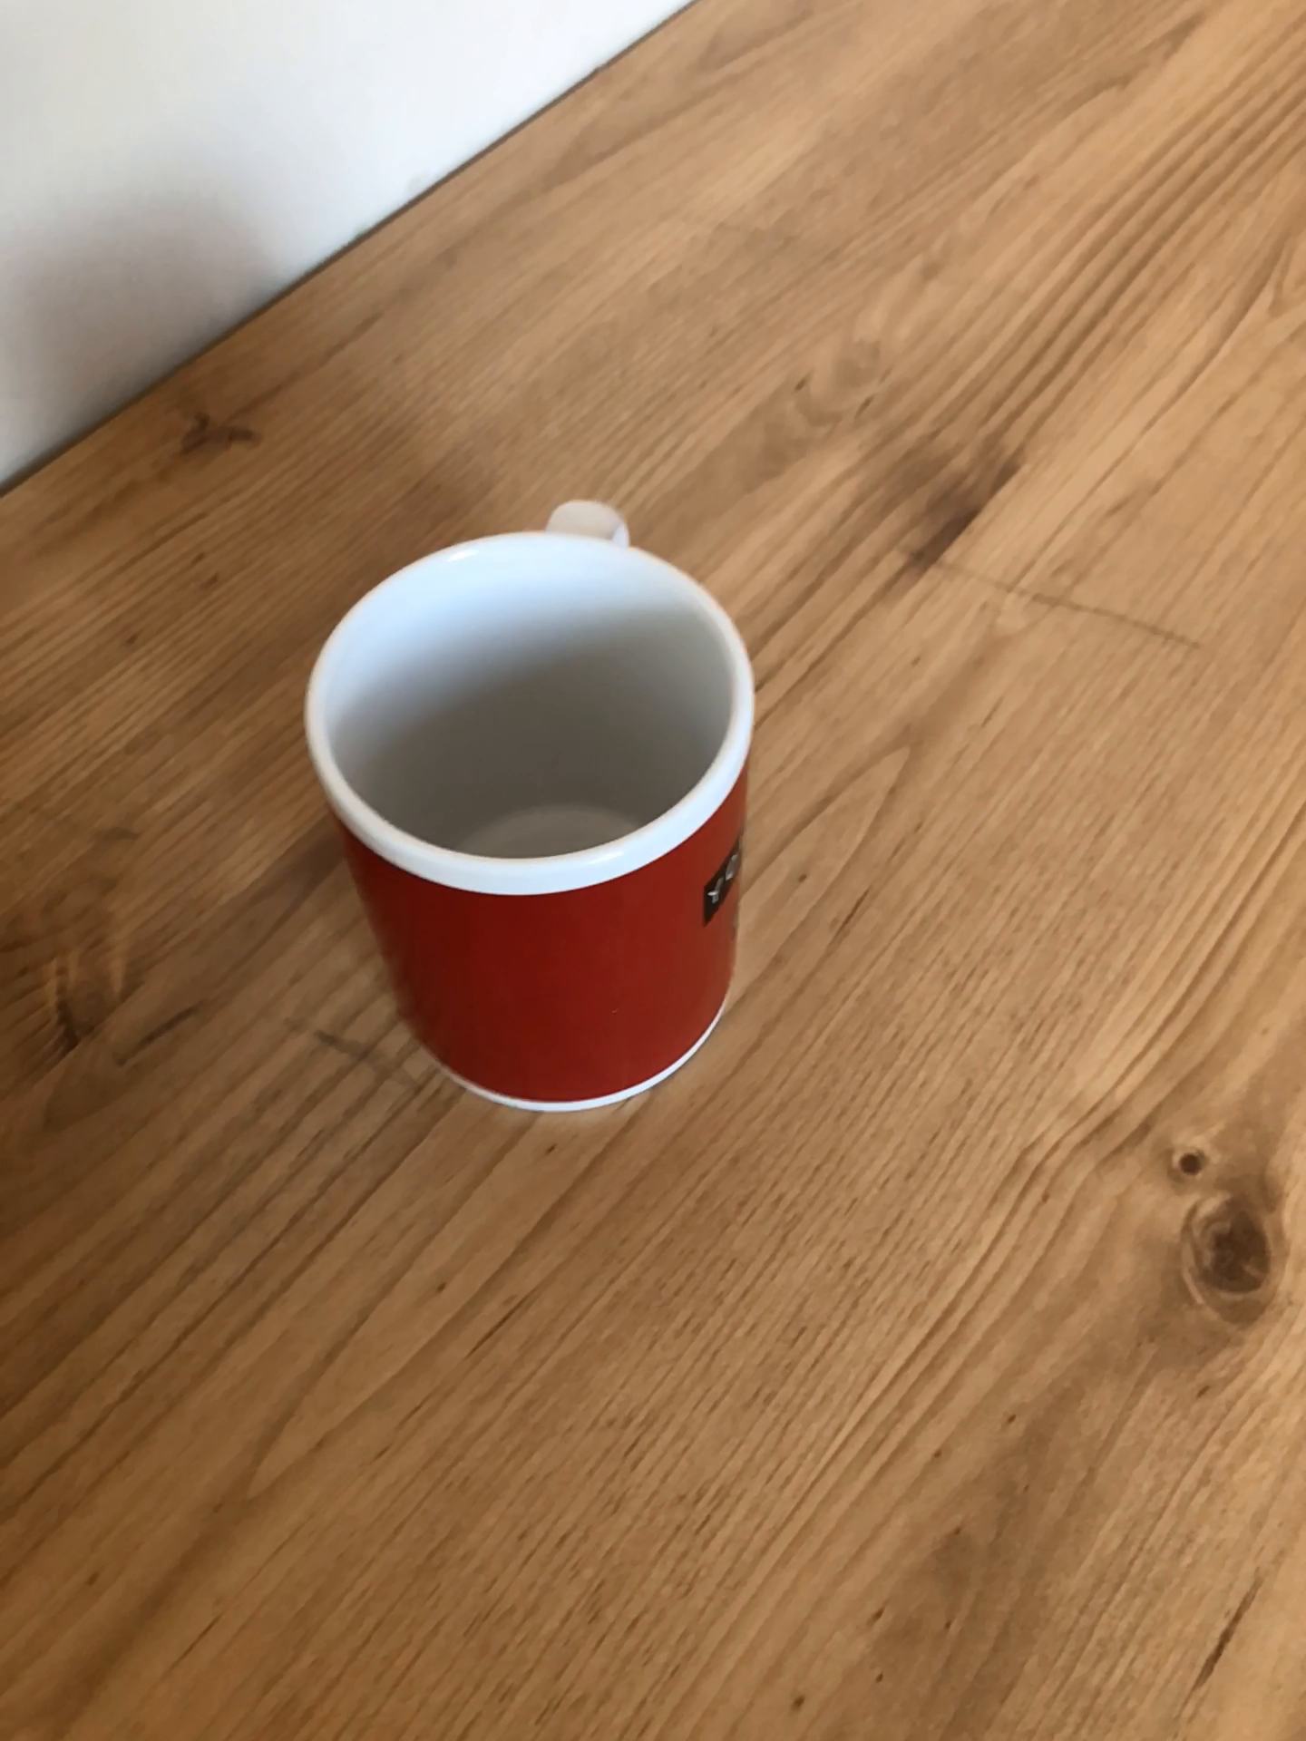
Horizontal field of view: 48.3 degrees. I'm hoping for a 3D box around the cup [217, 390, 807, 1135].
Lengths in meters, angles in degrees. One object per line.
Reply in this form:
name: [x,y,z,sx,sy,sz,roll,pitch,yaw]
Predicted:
cup: [-0.018,-0.023,0.304,0.091,0.086,0.124,4,56,5]
